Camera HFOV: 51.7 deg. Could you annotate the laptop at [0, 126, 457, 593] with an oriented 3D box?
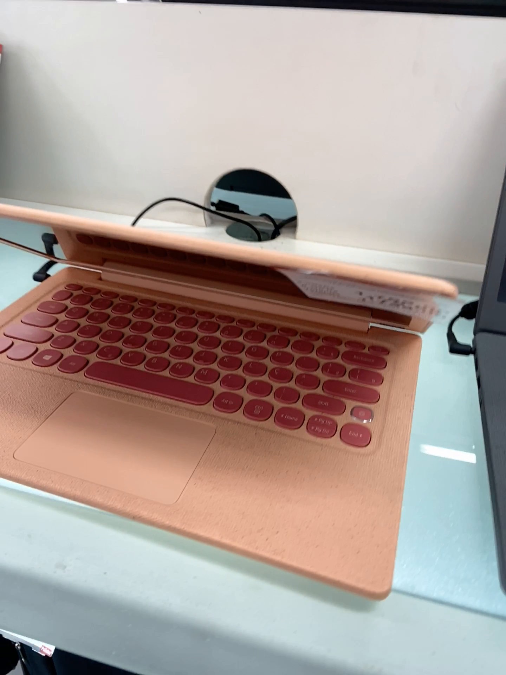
[{"bbox_3d":[-0.059,-0.027,0.323,0.323,0.129,0.212,12,35,15],"label":"laptop"}]
